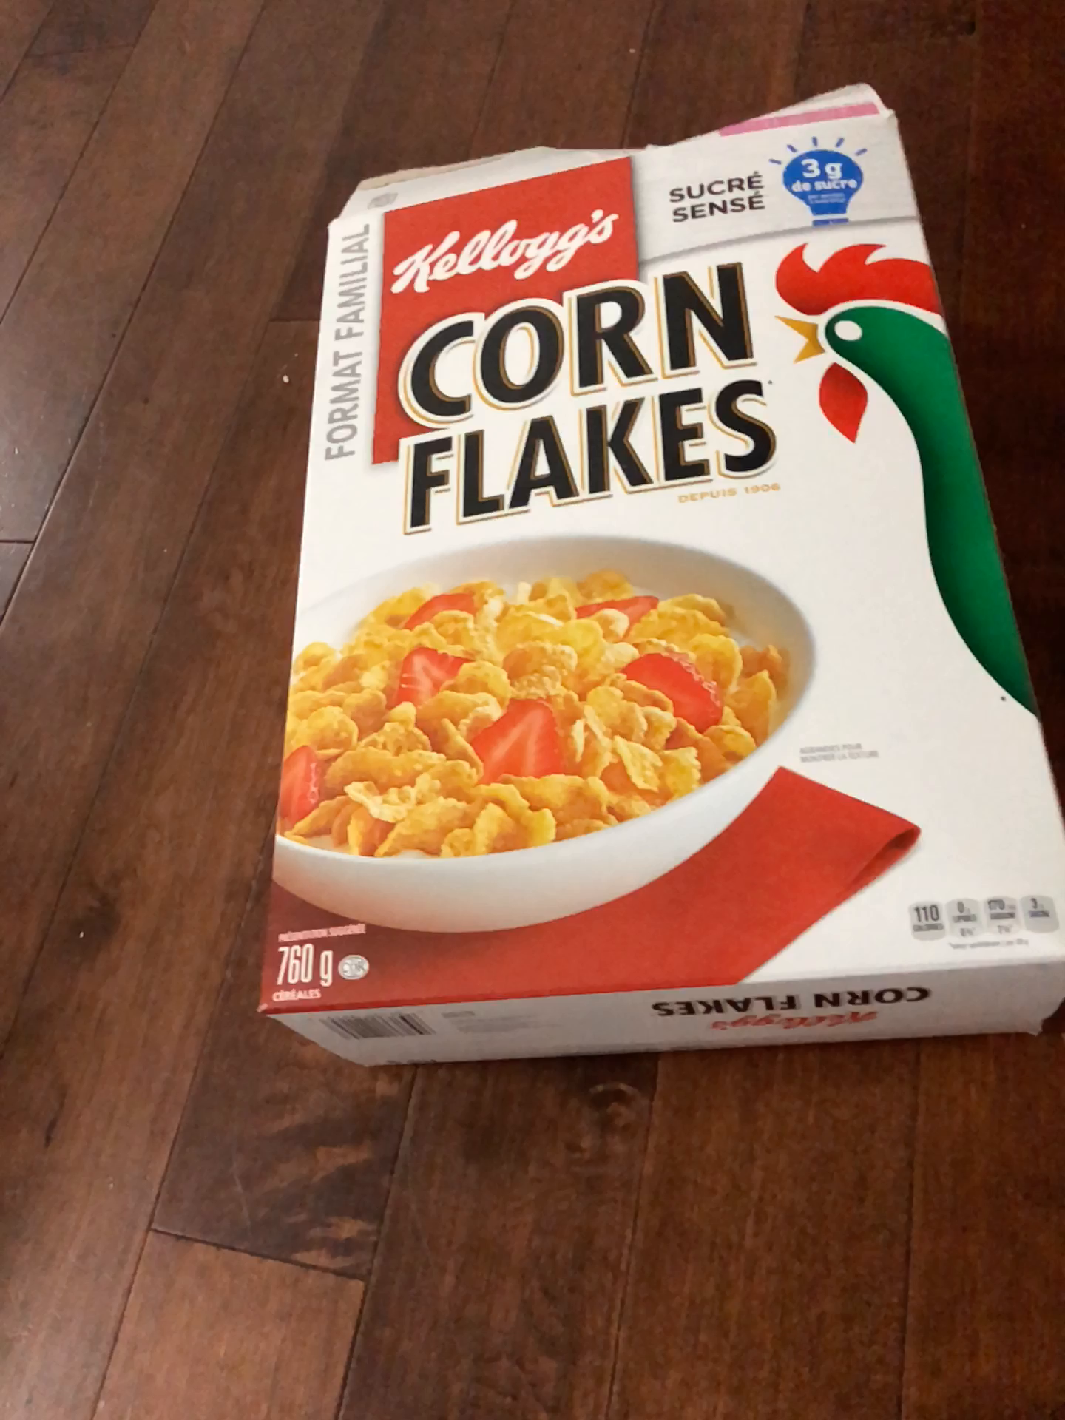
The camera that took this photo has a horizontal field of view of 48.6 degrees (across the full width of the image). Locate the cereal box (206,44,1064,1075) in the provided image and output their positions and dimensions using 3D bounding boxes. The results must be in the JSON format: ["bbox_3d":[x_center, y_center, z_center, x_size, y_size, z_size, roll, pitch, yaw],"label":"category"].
[{"bbox_3d":[0.034,-0.067,0.461,0.260,0.090,0.380,-6,63,12],"label":"cereal box"}]
